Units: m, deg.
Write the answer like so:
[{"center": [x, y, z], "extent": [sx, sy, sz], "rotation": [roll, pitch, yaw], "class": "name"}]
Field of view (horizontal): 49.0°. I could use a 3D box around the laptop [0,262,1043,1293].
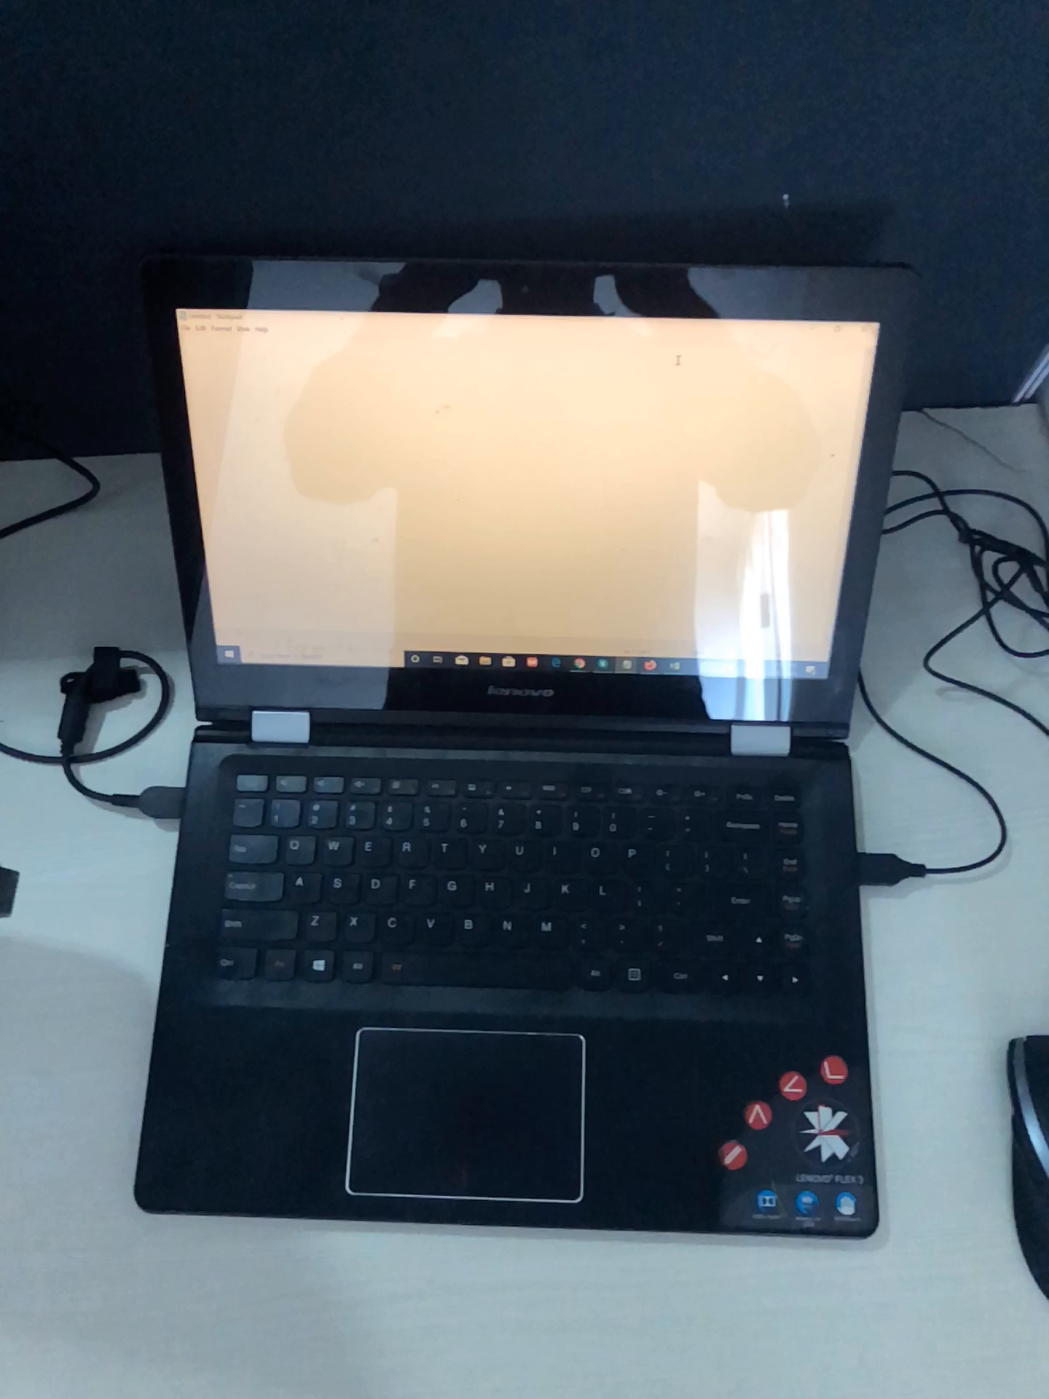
[{"center": [-0.004, 0.025, 0.506], "extent": [0.334, 0.171, 0.386], "rotation": [2, 69, 1], "class": "laptop"}]
